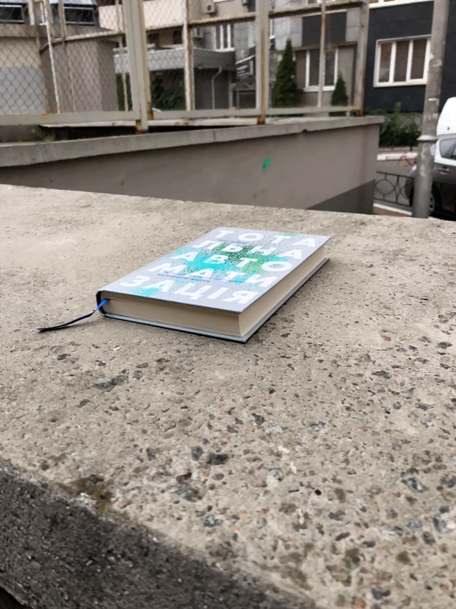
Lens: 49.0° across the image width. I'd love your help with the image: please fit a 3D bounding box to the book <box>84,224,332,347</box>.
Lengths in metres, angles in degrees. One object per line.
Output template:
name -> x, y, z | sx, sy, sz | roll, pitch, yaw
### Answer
book -> -0.005, -0.033, 0.499 | 0.156, 0.030, 0.222 | 9, 26, 26
